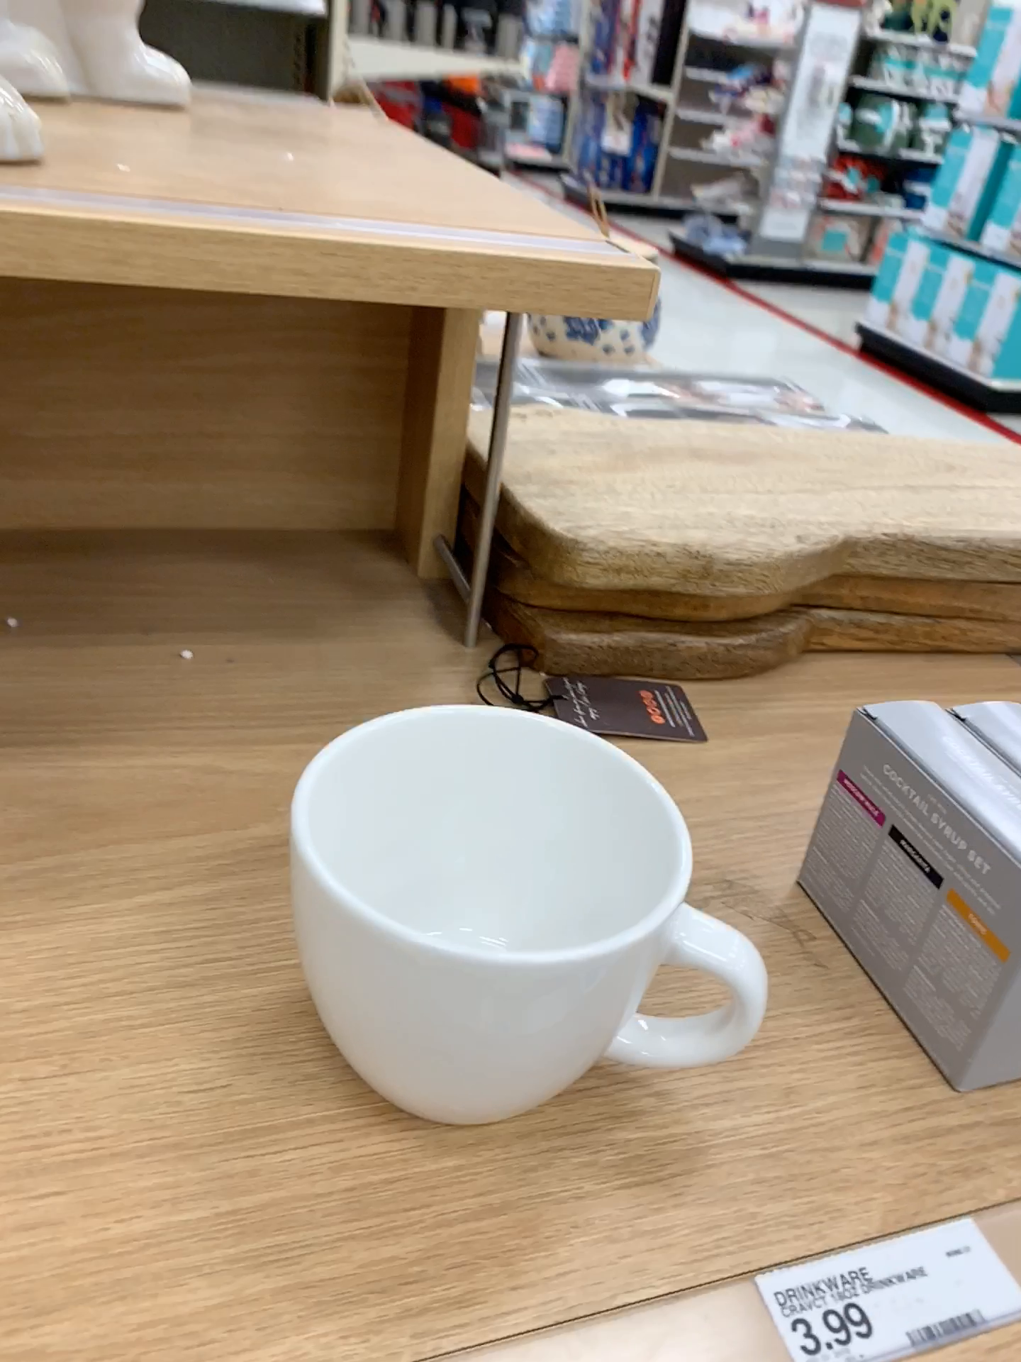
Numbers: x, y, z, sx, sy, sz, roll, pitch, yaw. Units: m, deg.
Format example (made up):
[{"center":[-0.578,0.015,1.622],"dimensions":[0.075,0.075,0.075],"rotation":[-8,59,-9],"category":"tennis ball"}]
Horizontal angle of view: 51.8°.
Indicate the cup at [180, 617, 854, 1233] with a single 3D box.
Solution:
[{"center":[0.003,0.056,0.281],"dimensions":[0.140,0.080,0.110],"rotation":[11,31,4],"category":"cup"}]
